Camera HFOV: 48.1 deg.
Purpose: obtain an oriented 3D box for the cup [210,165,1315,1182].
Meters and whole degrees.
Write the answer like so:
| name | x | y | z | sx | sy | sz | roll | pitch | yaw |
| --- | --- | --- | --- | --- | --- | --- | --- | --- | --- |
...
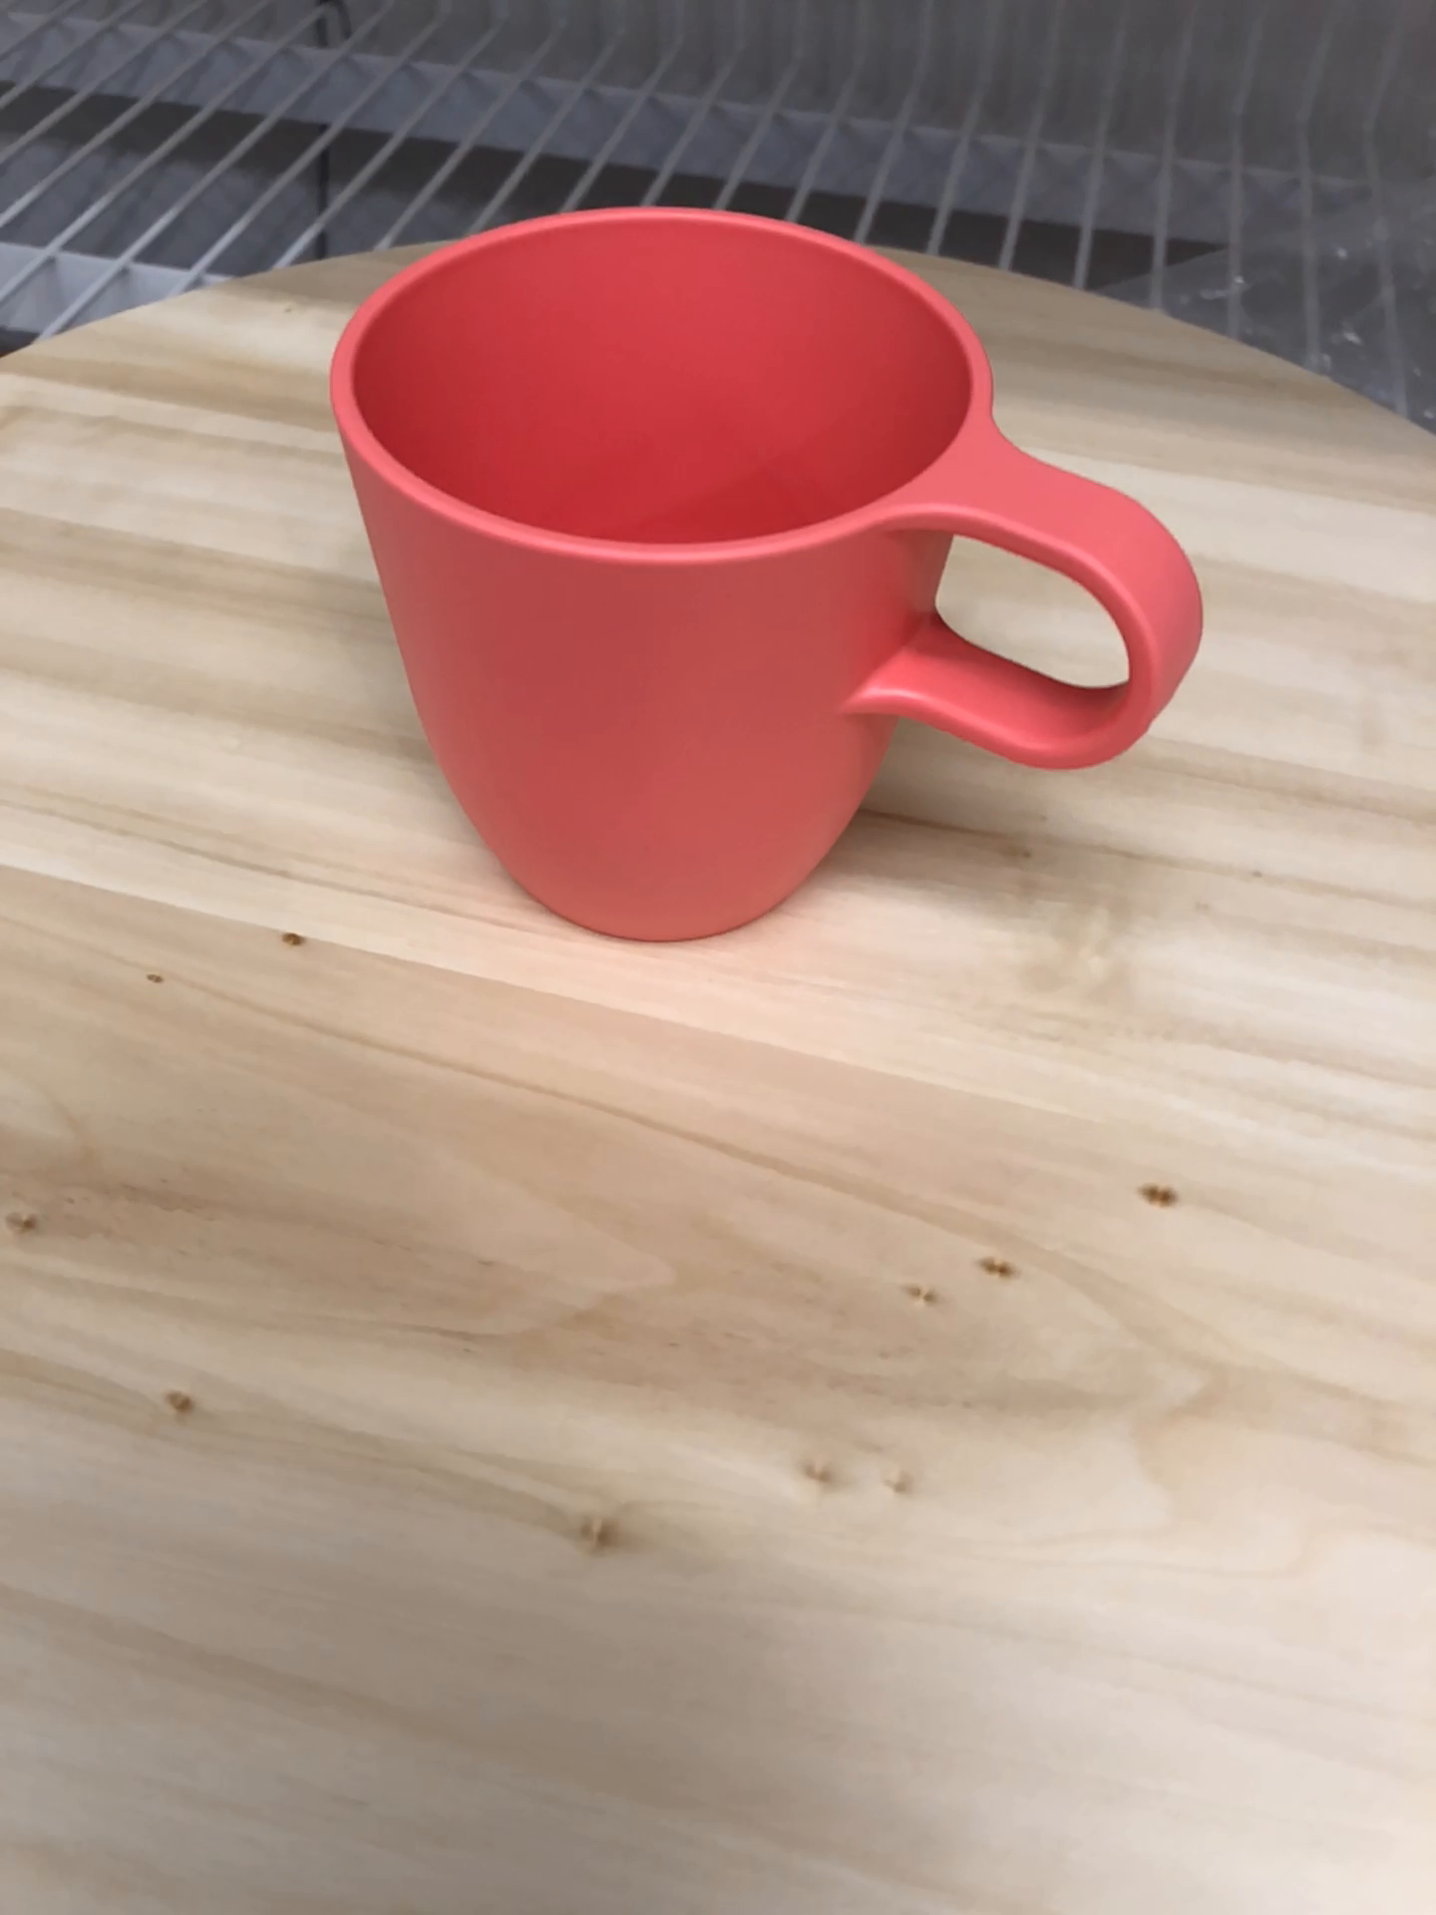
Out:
| name | x | y | z | sx | sy | sz | roll | pitch | yaw |
| --- | --- | --- | --- | --- | --- | --- | --- | --- | --- |
| cup | 0.006 | -0.044 | 0.226 | 0.110 | 0.080 | 0.080 | 24 | 51 | 19 |
